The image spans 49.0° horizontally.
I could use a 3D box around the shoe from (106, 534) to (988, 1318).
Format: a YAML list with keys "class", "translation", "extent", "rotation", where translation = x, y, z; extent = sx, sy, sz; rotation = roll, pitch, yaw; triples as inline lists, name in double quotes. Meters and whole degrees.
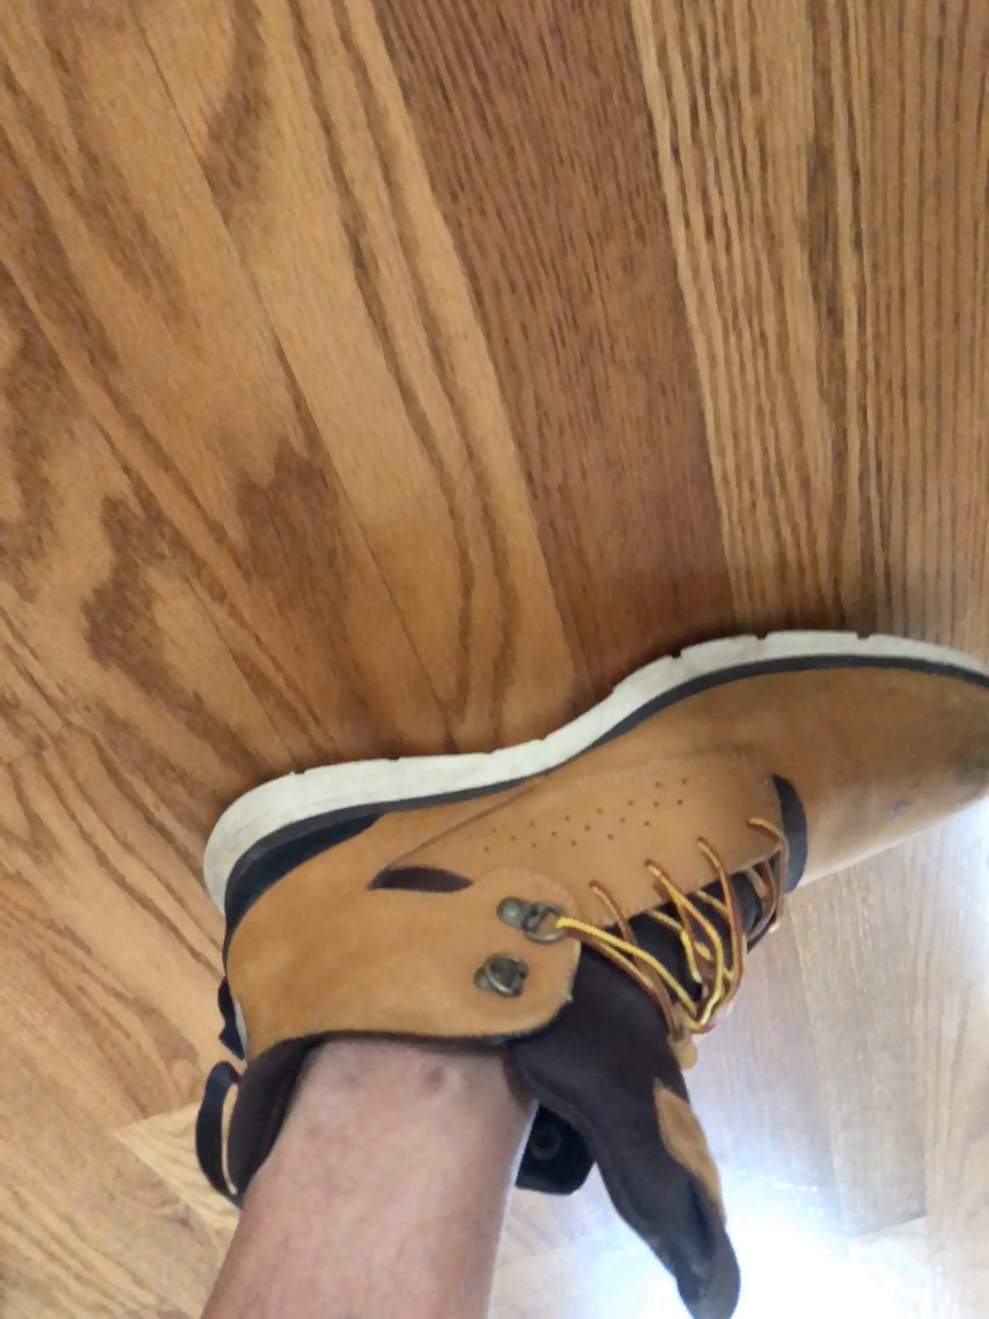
- class: "shoe"
  translation: [0.051, 0.098, 0.353]
  extent: [0.310, 0.169, 0.121]
  rotation: [-19, 128, -5]
